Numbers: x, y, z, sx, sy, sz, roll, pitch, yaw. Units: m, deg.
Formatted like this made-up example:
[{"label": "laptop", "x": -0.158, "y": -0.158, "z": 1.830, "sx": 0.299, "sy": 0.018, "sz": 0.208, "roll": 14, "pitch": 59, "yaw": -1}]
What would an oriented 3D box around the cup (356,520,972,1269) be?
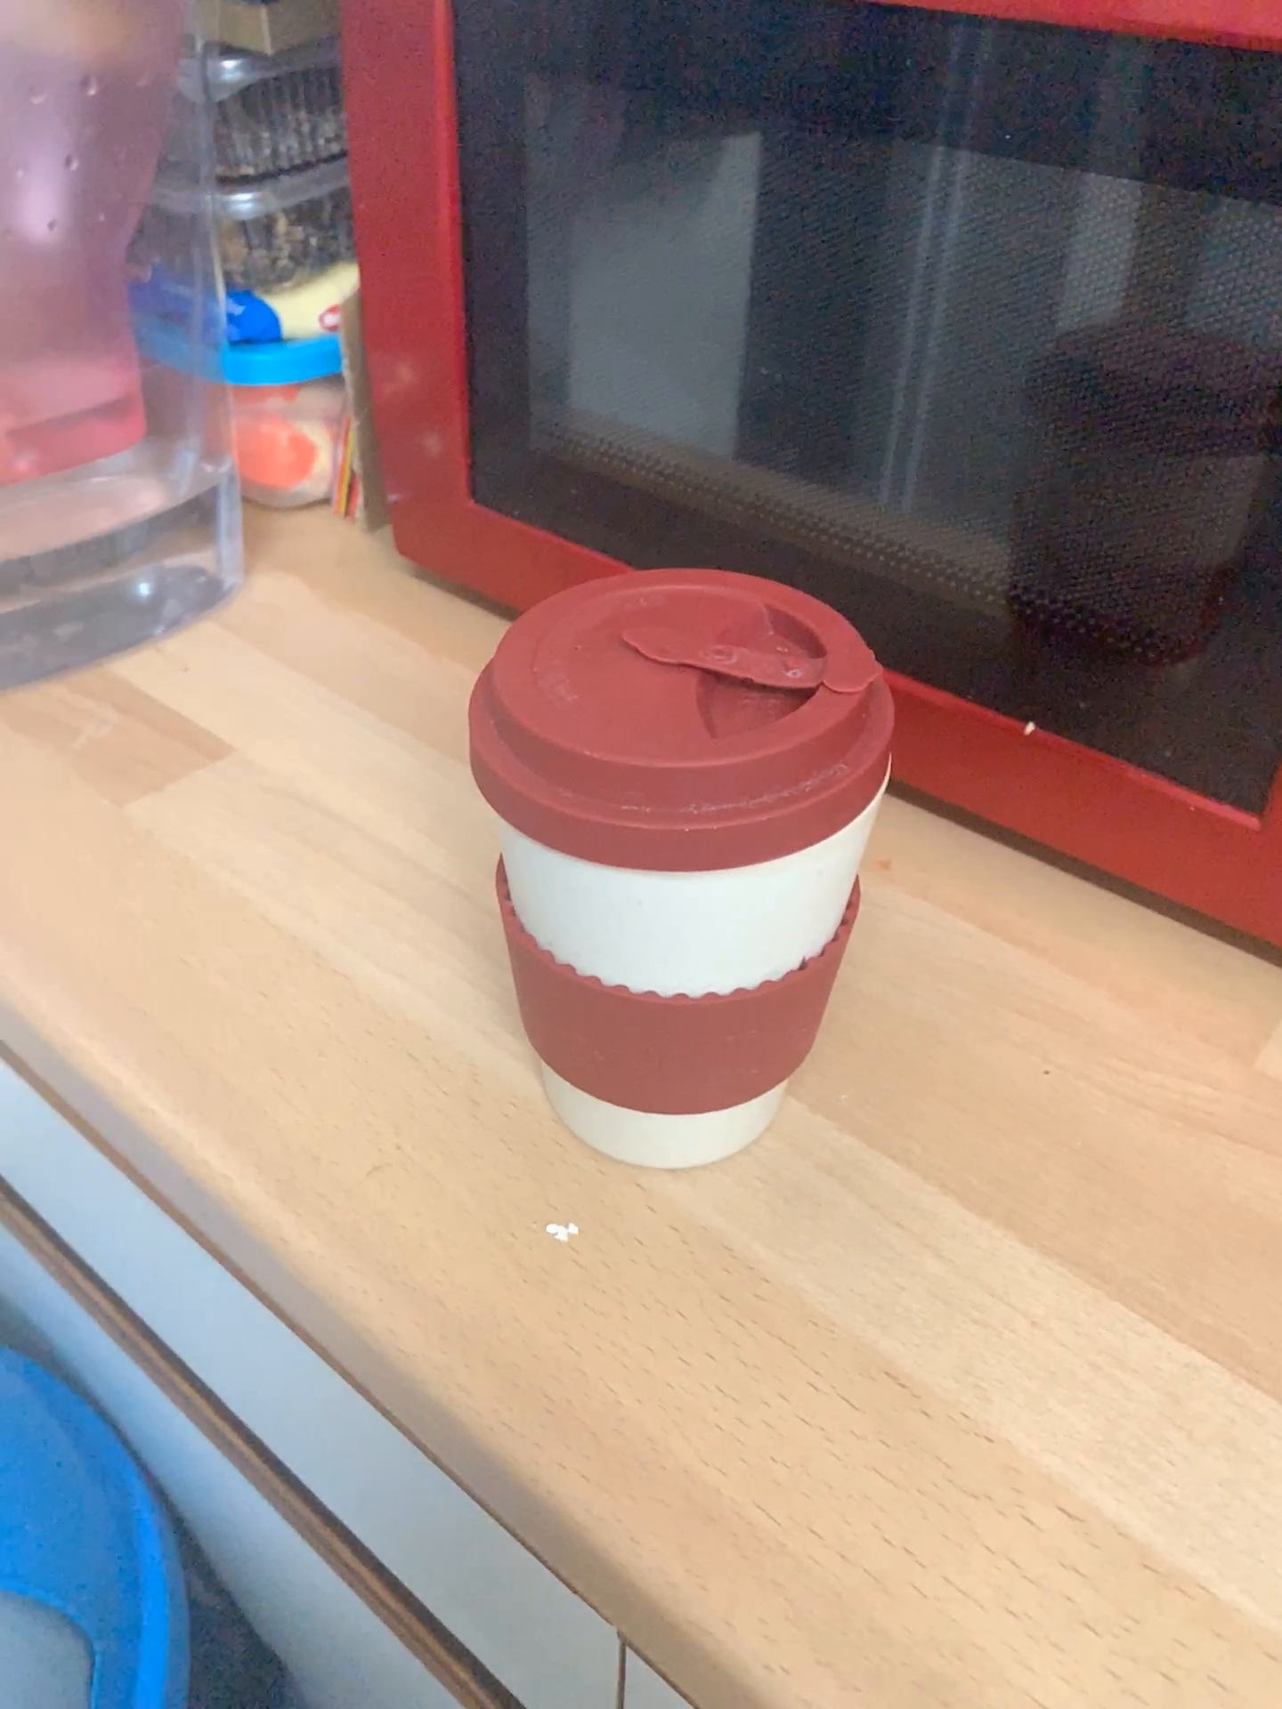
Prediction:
[{"label": "cup", "x": 0.005, "y": 0.006, "z": 0.297, "sx": 0.087, "sy": 0.115, "sz": 0.087, "roll": 1, "pitch": 39, "yaw": -1}]
